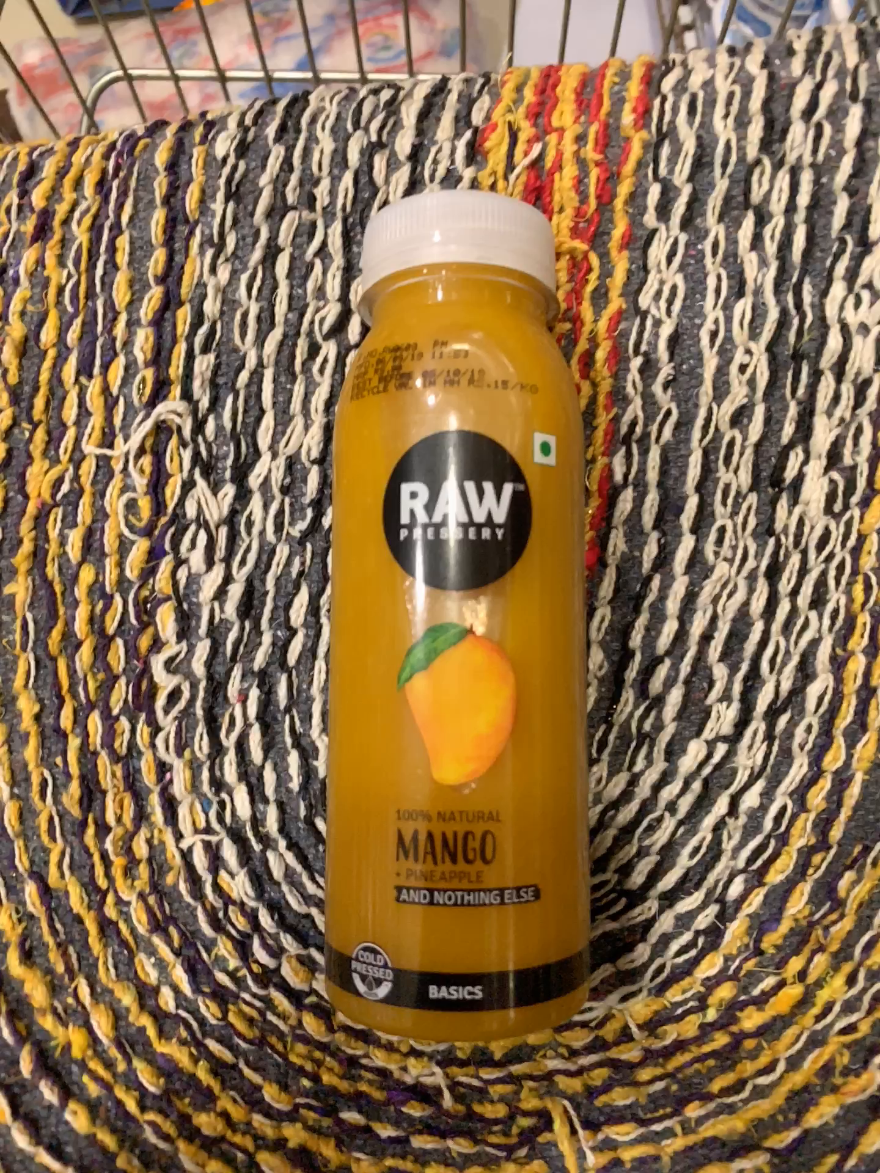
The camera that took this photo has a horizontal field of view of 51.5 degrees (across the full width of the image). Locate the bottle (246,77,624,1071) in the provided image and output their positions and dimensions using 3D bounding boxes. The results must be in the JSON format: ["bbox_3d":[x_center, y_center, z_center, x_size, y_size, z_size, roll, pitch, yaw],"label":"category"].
[{"bbox_3d":[0.002,-0.005,0.181,0.060,0.050,0.170,0,82,4],"label":"bottle"}]
